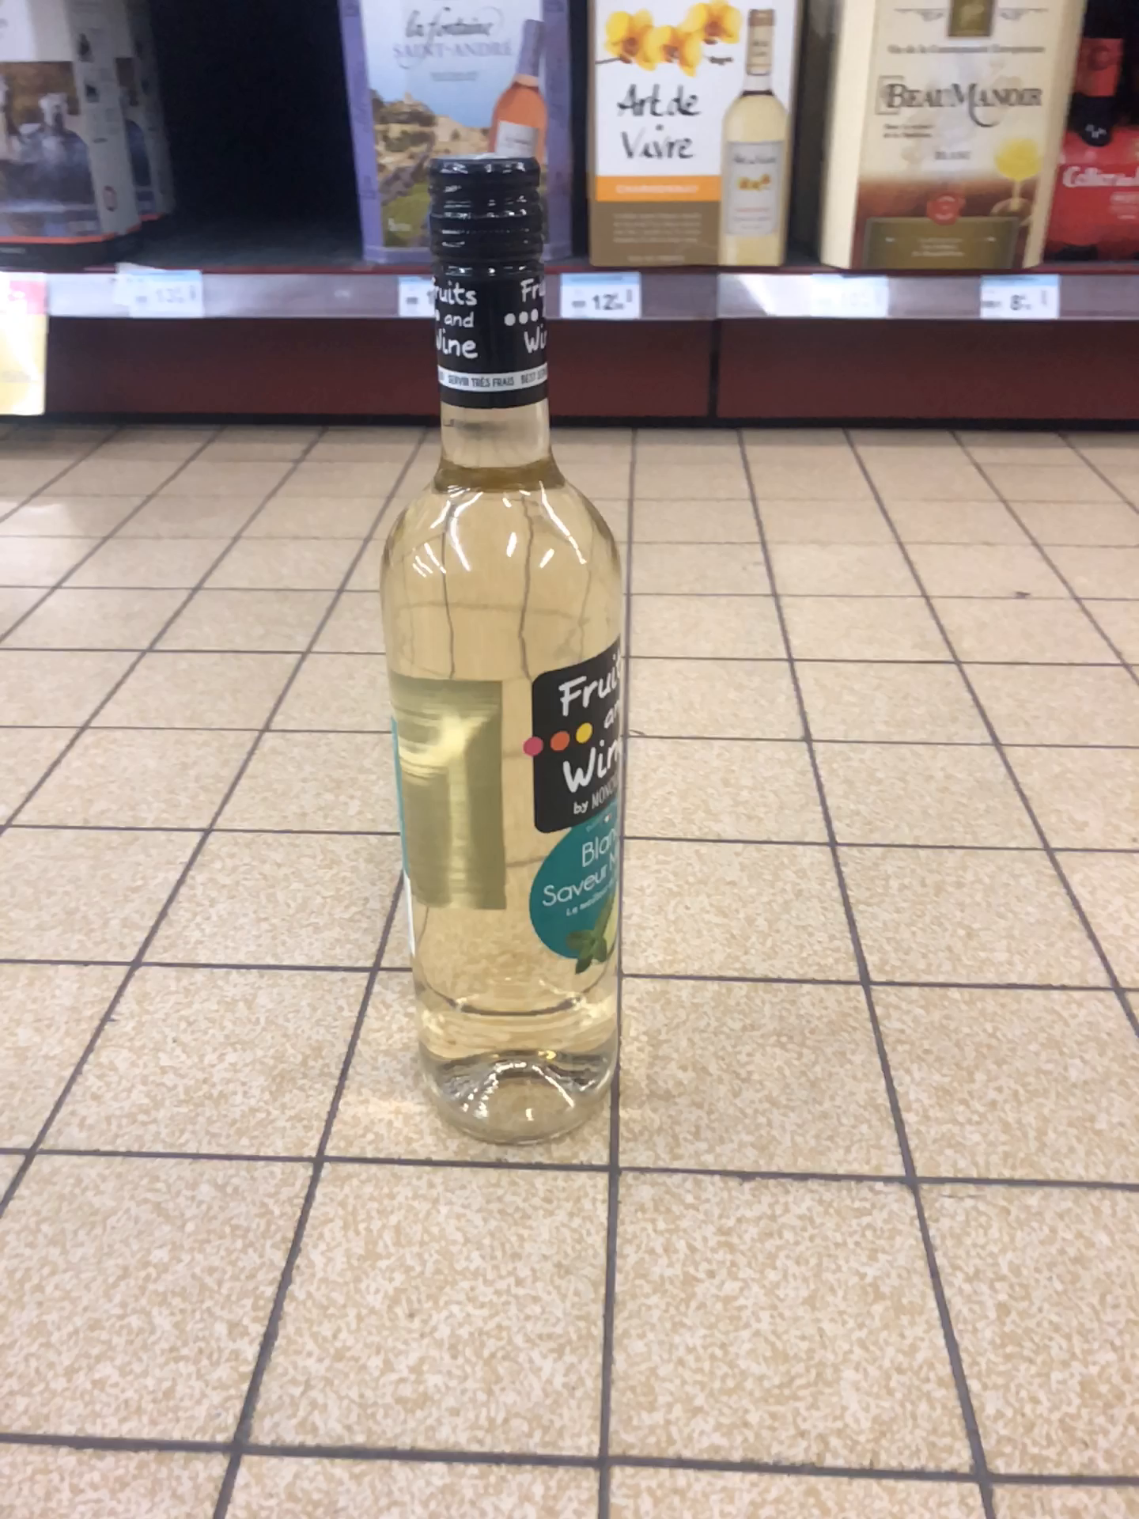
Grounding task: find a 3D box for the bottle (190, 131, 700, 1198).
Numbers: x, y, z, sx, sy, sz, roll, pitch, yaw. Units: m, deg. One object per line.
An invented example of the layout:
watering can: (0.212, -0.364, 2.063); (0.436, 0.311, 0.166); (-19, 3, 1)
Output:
bottle: (-0.025, -0.022, 0.382); (0.090, 0.298, 0.101); (11, 31, 19)
